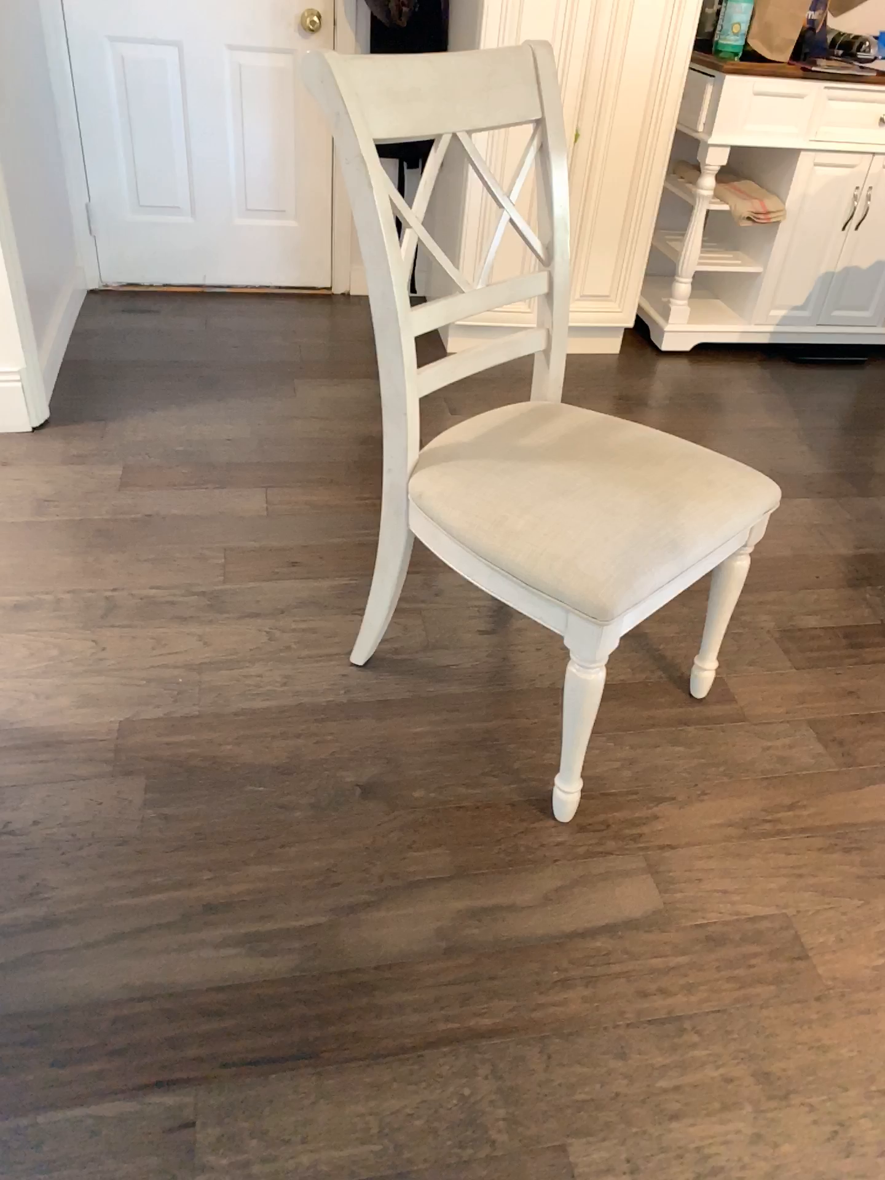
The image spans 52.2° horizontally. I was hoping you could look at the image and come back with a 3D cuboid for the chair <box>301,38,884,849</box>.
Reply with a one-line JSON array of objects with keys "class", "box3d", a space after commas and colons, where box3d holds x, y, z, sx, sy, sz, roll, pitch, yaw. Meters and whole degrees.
[{"class": "chair", "box3d": [0.204, -0.250, 1.366, 0.652, 0.924, 0.531, 33, 44, 32]}]
